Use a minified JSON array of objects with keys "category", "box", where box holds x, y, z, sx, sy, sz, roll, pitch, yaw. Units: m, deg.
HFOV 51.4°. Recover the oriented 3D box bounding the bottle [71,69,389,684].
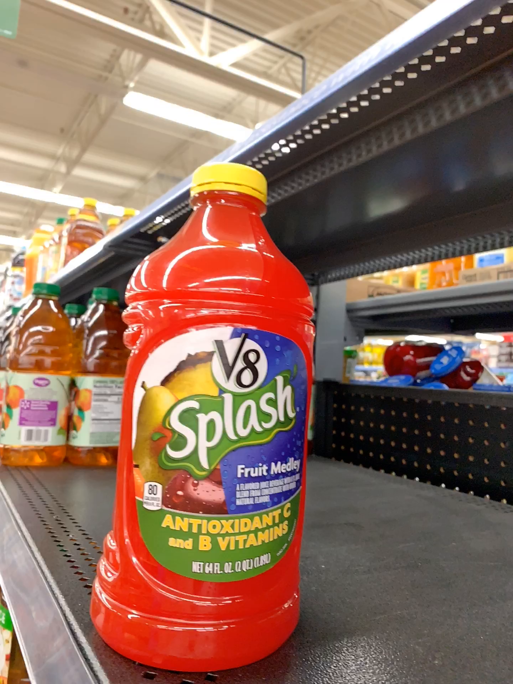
[{"category":"bottle","box":[-0.021,0.017,0.305,0.140,0.265,0.122,3,-4,-16]}]
